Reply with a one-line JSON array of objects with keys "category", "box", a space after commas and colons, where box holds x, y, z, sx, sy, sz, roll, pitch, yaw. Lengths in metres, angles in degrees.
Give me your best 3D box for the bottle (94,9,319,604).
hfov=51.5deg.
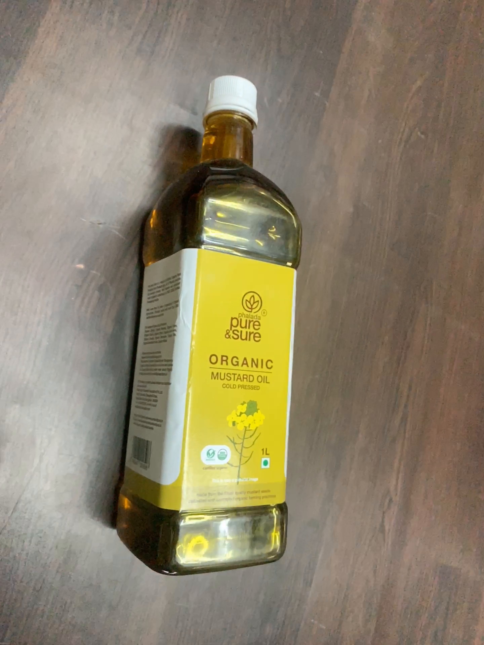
[{"category": "bottle", "box": [-0.019, -0.009, 0.278, 0.080, 0.080, 0.270, 7, 82, -30]}]
